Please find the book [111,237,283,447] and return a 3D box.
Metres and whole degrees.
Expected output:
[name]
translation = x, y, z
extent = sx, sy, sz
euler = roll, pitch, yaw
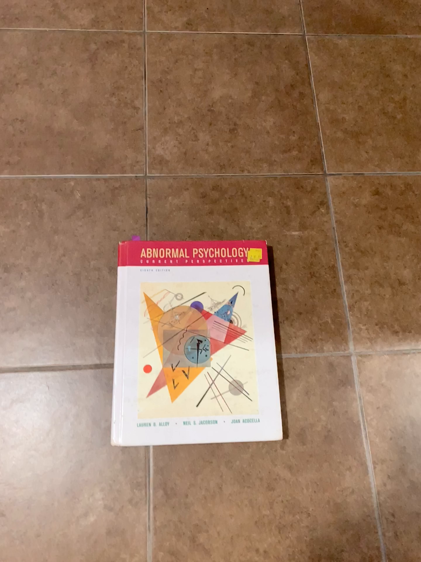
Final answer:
[book]
translation = -0.022, 0.077, 0.610
extent = 0.222, 0.032, 0.288
euler = -1, 72, -4
